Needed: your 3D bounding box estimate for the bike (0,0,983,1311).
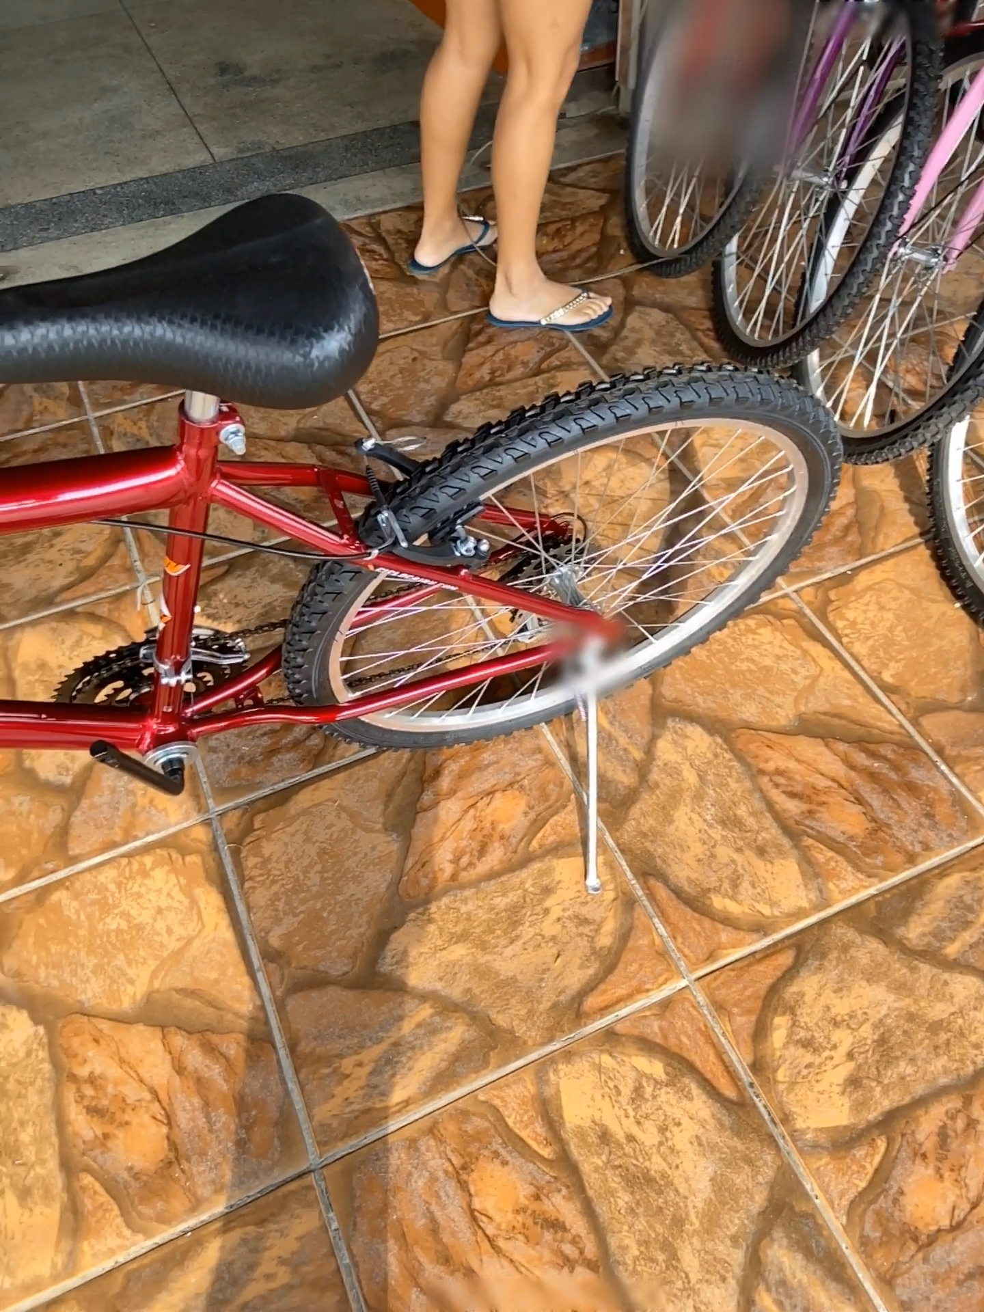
[{"bbox_3d":[-0.303,0.141,0.746,1.558,0.986,0.601,-27,53,-15],"label":"bike"}]
